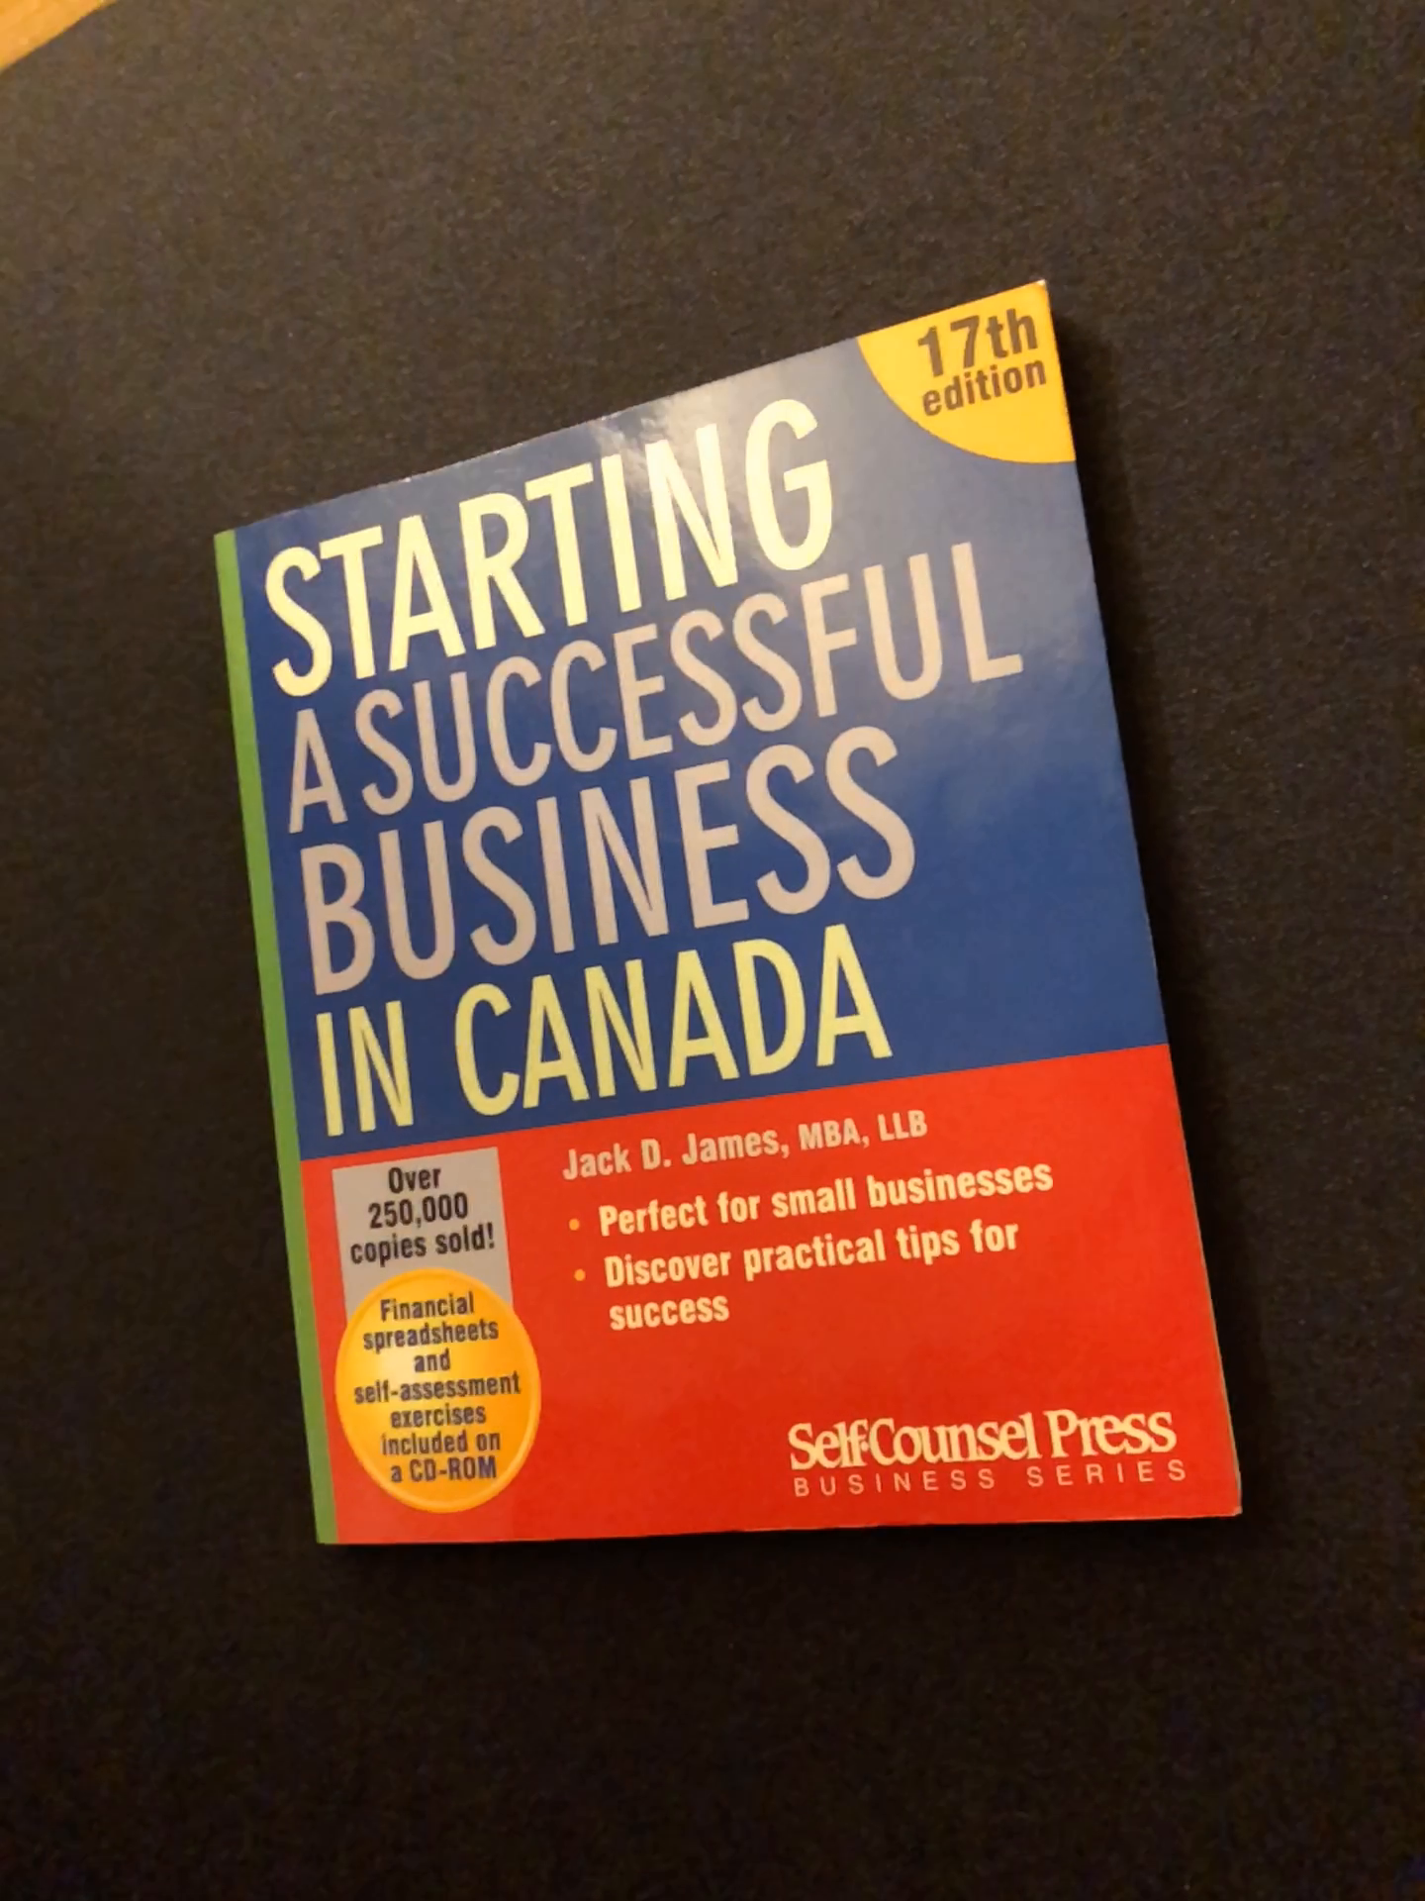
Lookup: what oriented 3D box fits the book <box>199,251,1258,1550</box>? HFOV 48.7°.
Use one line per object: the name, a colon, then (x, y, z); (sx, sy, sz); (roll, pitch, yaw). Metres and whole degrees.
book: (-0.007, 0.001, 0.353); (0.210, 0.040, 0.247); (-9, 83, 21)
